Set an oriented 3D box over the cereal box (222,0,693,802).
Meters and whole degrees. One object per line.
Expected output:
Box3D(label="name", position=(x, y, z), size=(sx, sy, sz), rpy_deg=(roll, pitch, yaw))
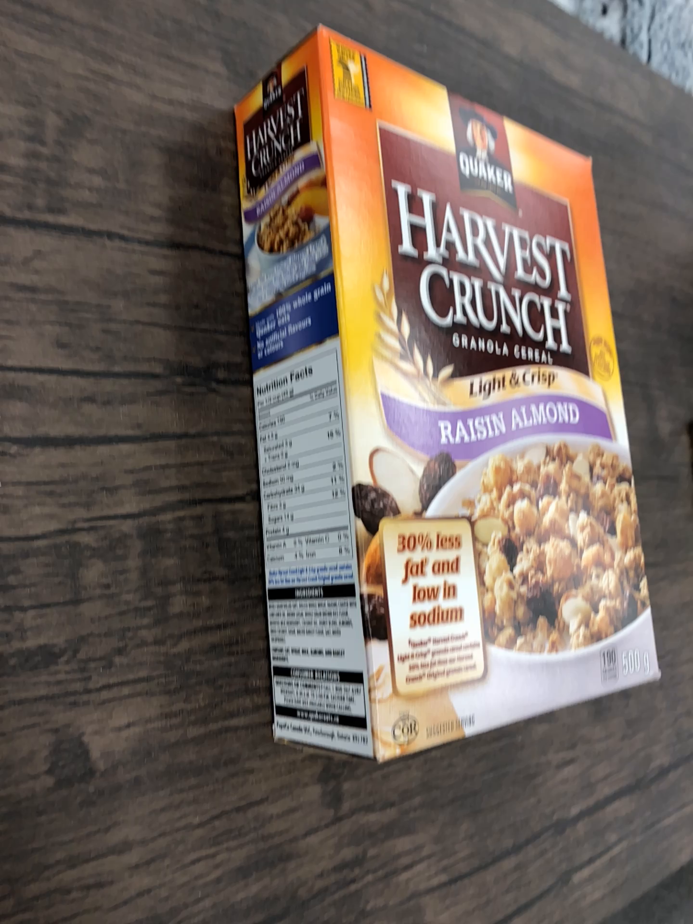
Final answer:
Box3D(label="cereal box", position=(0.051, -0.022, 0.287), size=(0.181, 0.050, 0.230), rpy_deg=(2, 80, -41))
